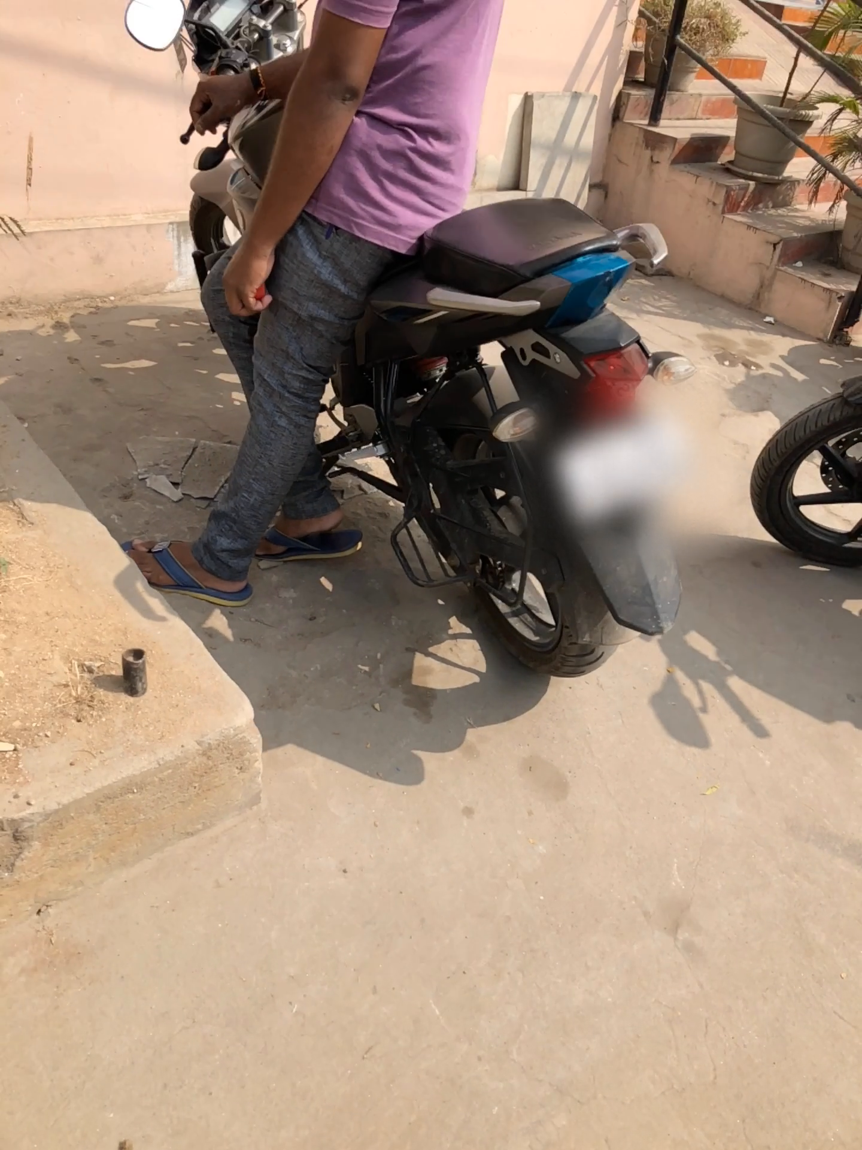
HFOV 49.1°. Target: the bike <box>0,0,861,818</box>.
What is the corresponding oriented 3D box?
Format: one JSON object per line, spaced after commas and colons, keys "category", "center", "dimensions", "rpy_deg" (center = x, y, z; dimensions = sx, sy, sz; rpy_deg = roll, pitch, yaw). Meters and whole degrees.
{"category": "bike", "center": [-0.323, -0.766, 1.865], "dimensions": [0.812, 1.221, 1.829], "rpy_deg": [-16, 47, -31]}
